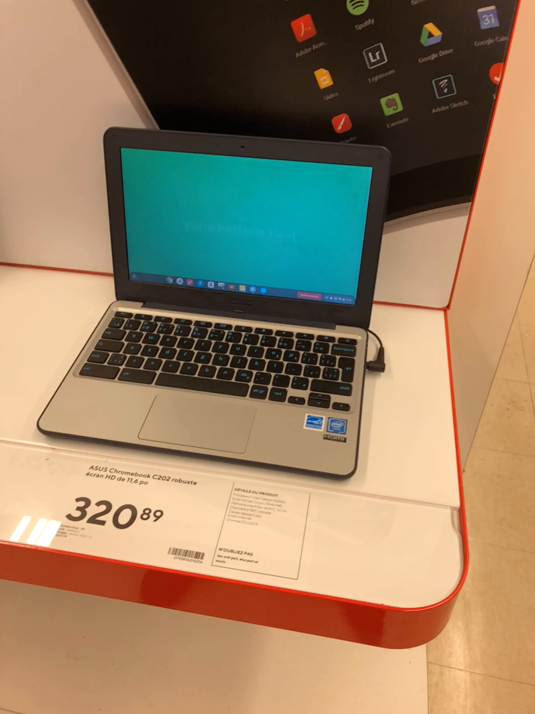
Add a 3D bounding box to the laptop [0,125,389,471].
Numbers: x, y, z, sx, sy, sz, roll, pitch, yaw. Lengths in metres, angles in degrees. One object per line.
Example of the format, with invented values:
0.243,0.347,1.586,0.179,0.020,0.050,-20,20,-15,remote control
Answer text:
-0.044,-0.066,0.536,0.274,0.174,0.231,7,43,7,laptop
